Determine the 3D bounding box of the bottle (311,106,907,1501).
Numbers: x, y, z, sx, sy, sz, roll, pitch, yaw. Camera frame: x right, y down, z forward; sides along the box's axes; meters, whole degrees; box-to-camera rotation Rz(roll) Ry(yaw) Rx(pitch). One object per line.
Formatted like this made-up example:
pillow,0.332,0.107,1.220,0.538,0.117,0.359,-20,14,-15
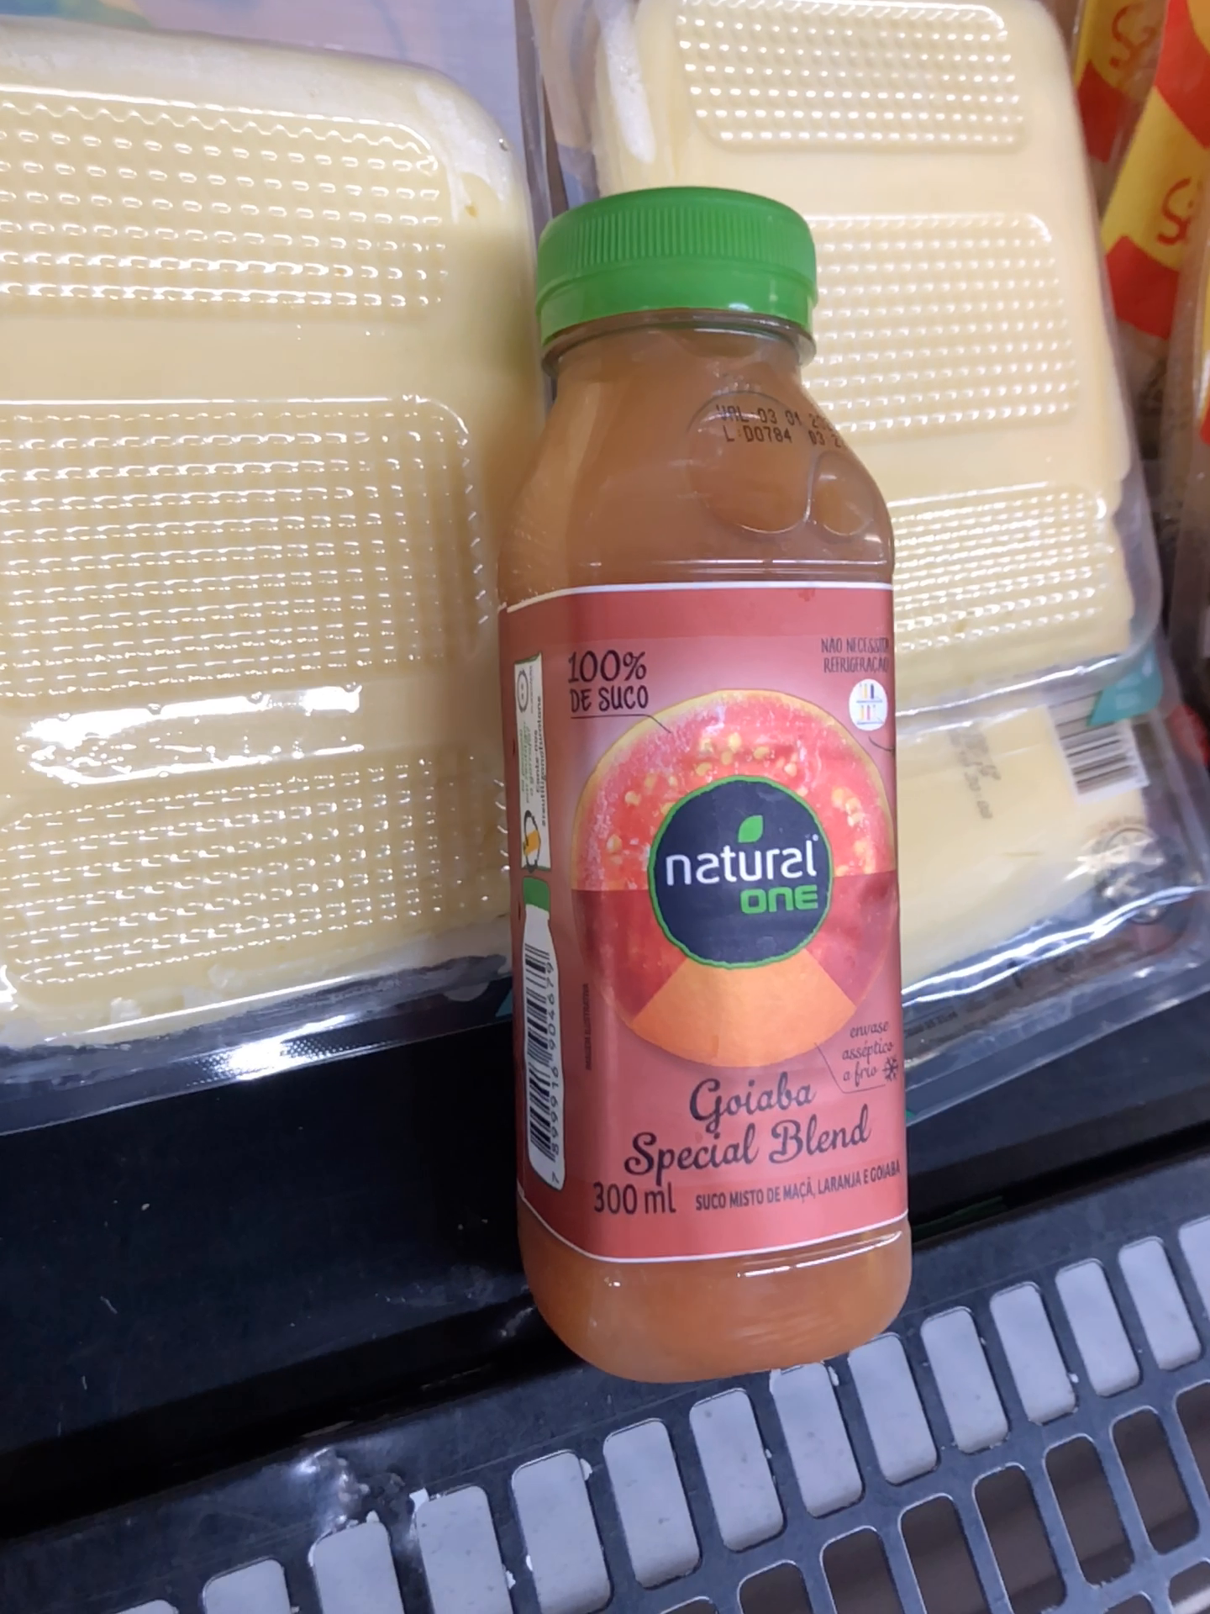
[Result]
bottle,-0.005,-0.002,0.218,0.060,0.070,0.180,-3,87,-22
